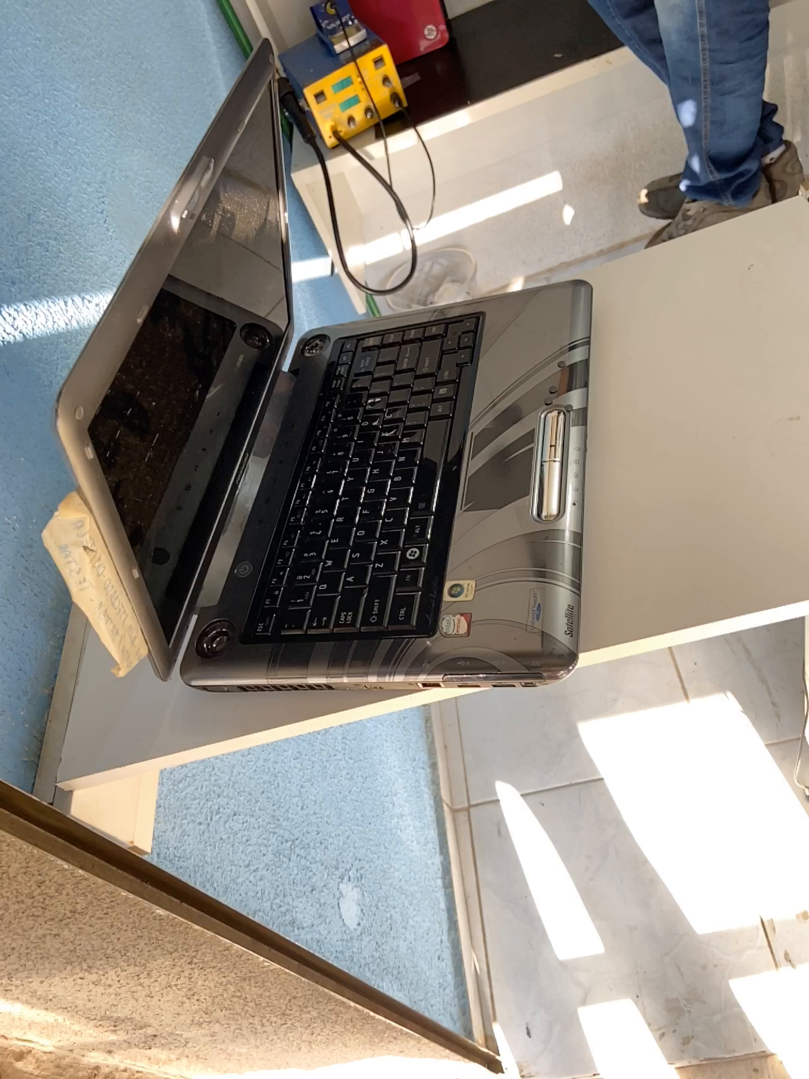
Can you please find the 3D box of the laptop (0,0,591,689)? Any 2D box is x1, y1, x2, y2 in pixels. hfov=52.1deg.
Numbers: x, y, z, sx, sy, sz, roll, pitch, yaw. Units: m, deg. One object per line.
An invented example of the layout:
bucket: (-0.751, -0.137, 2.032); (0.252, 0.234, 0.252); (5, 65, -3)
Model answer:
laptop: (-0.039, -0.124, 0.527); (0.258, 0.235, 0.360); (-5, 51, 22)
